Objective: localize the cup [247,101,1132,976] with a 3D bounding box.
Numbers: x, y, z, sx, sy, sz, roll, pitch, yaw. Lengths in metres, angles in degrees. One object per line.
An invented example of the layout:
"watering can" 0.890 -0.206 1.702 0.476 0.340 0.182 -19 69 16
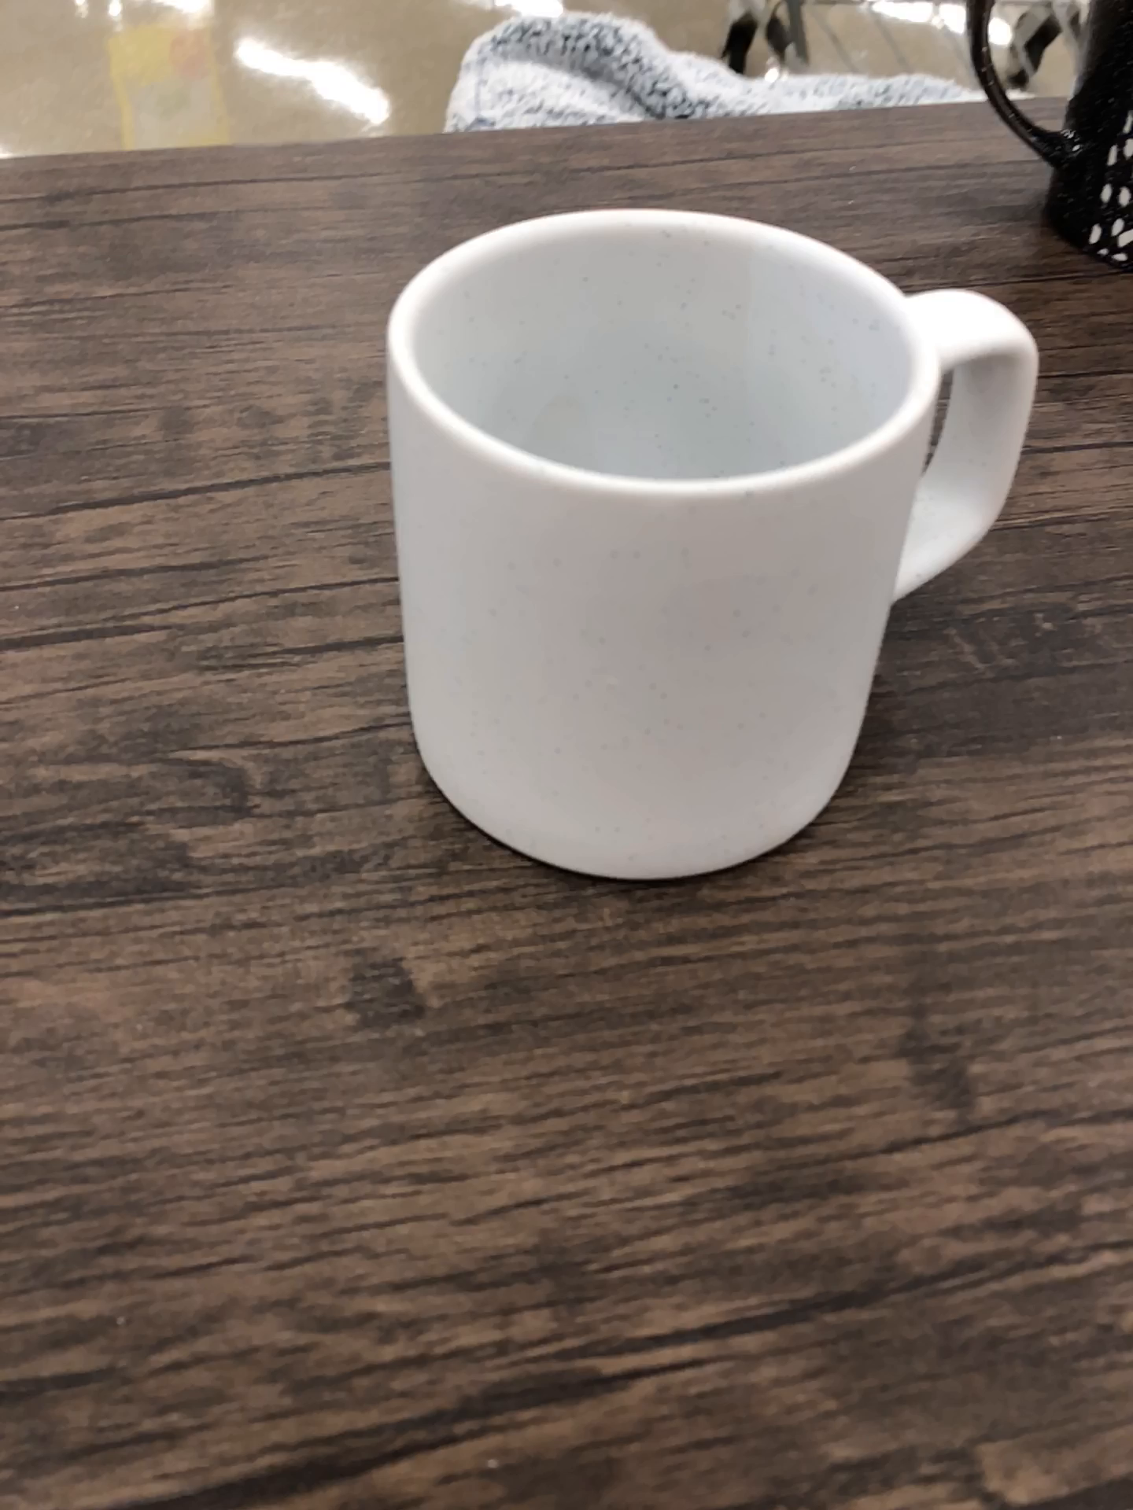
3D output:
"cup" 0.025 -0.045 0.238 0.130 0.100 0.090 -20 51 -19
